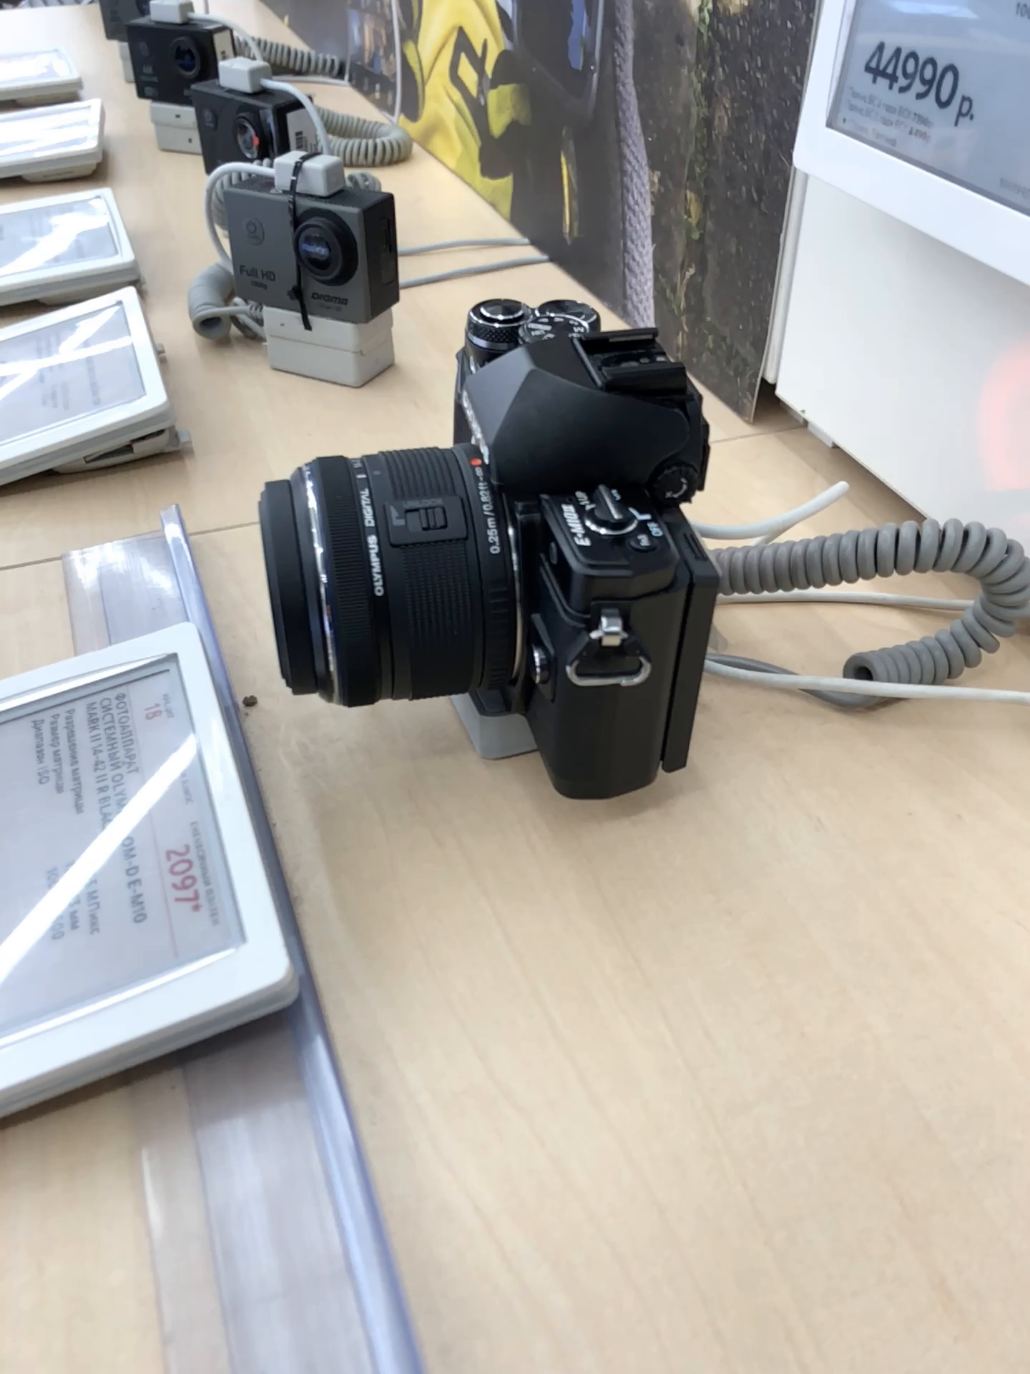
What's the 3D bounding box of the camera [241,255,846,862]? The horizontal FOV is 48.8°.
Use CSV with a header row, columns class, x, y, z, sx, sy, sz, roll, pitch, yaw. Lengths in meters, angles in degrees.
class,x,y,z,sx,sy,sz,roll,pitch,yaw
camera,-0.003,-0.037,0.260,0.100,0.079,0.113,-8,40,-11
